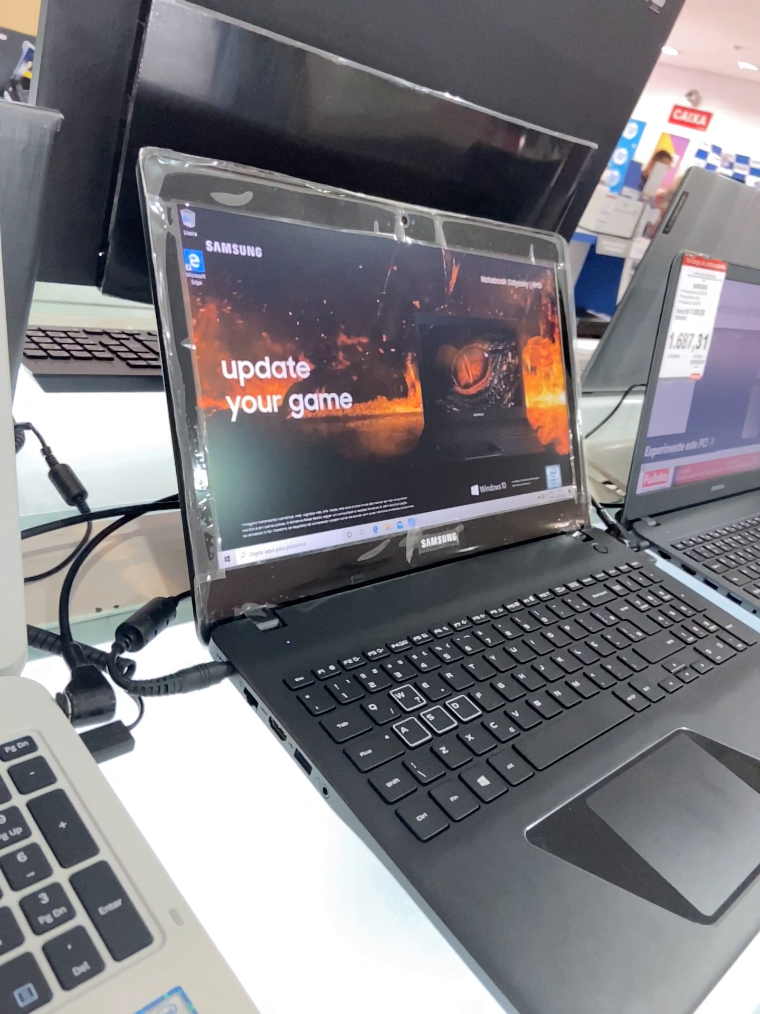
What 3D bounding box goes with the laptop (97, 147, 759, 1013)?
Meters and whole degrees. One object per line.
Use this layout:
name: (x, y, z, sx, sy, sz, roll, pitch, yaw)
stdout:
laptop: (0.112, -0.019, 0.448, 0.375, 0.202, 0.391, -9, 35, -42)
